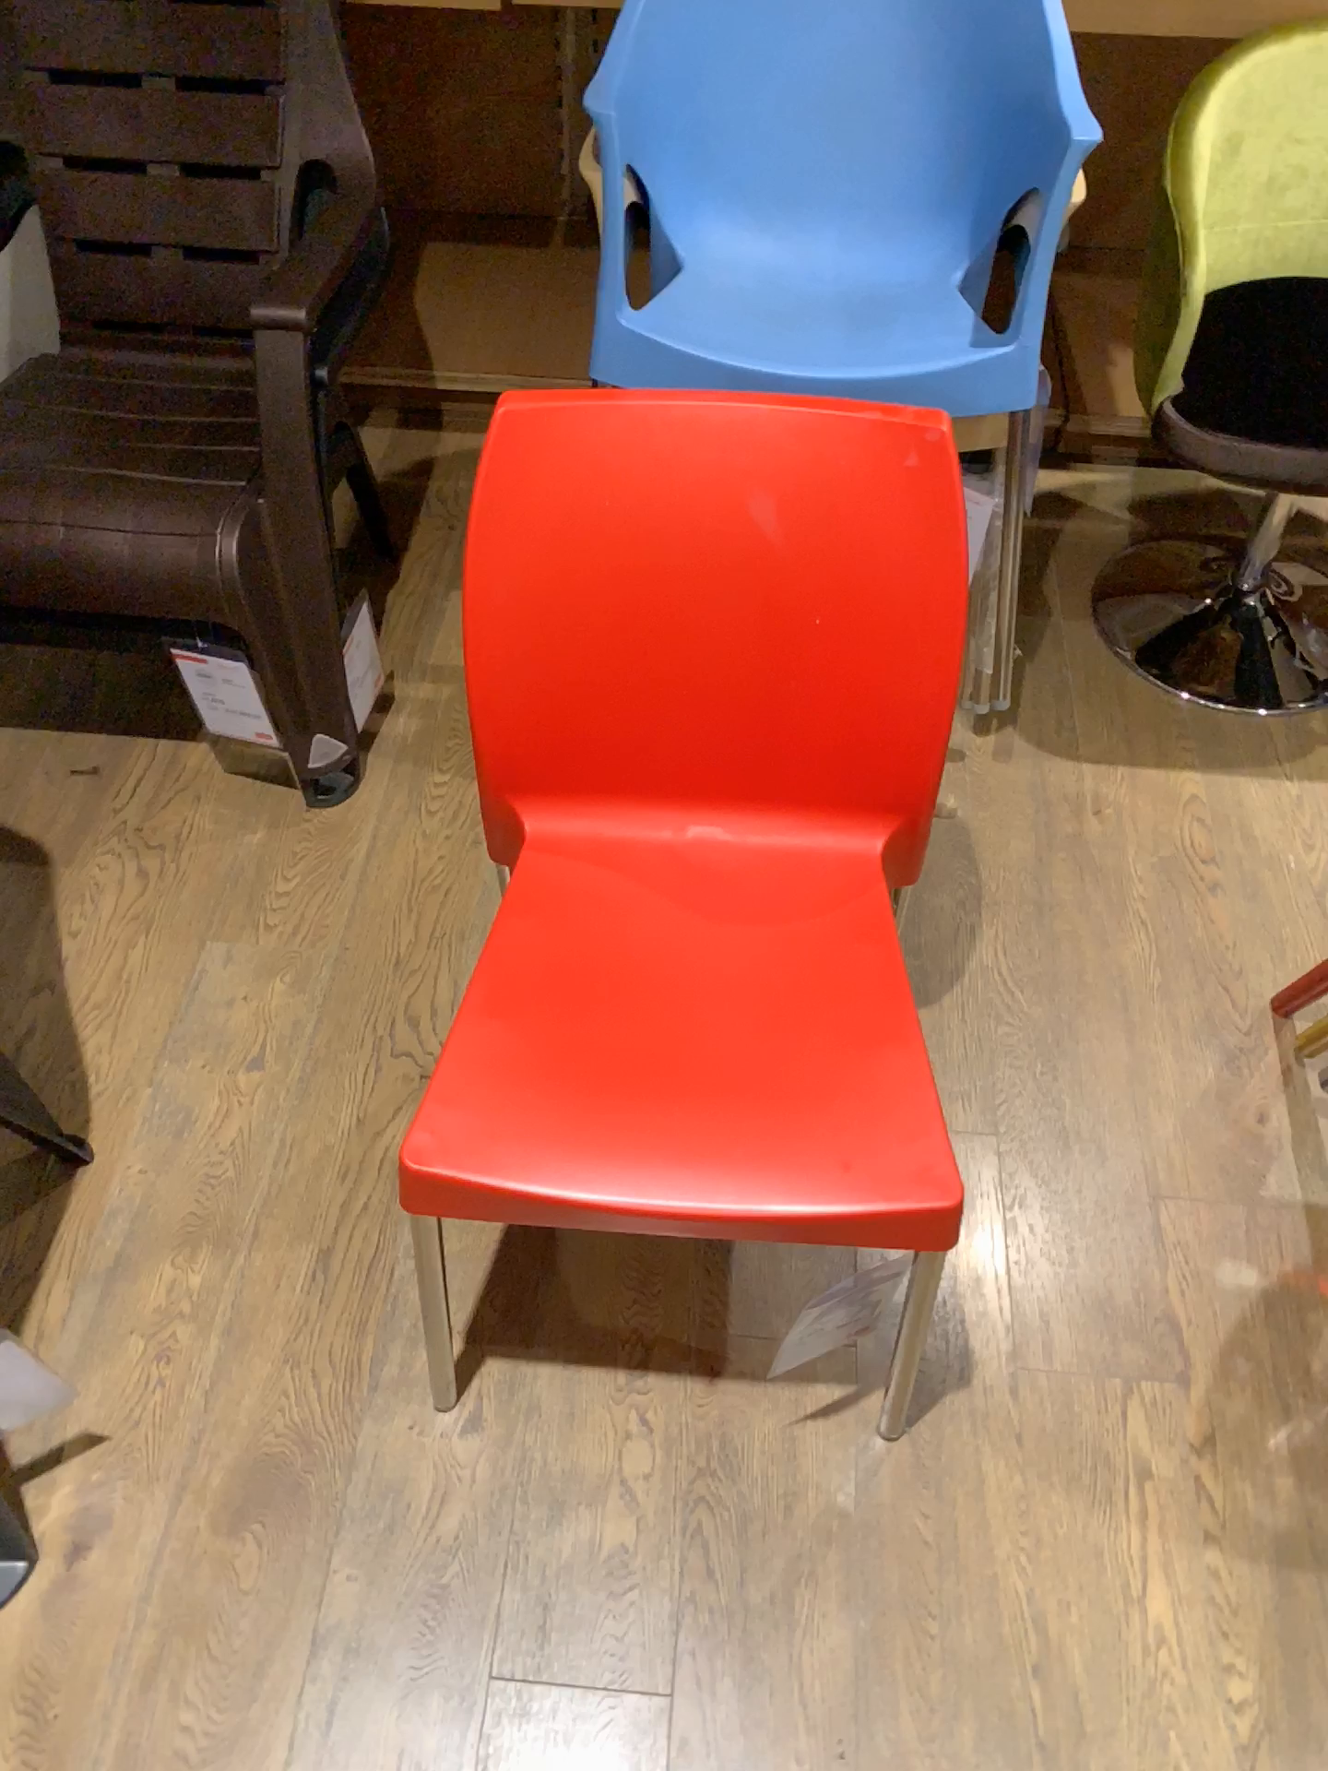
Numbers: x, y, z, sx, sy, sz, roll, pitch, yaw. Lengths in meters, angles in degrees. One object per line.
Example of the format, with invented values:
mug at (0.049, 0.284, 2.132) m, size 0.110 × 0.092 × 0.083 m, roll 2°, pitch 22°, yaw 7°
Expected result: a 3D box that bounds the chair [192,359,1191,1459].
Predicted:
chair at (0.023, 0.066, 1.193) m, size 0.520 × 0.788 × 0.592 m, roll 3°, pitch 51°, yaw 1°
